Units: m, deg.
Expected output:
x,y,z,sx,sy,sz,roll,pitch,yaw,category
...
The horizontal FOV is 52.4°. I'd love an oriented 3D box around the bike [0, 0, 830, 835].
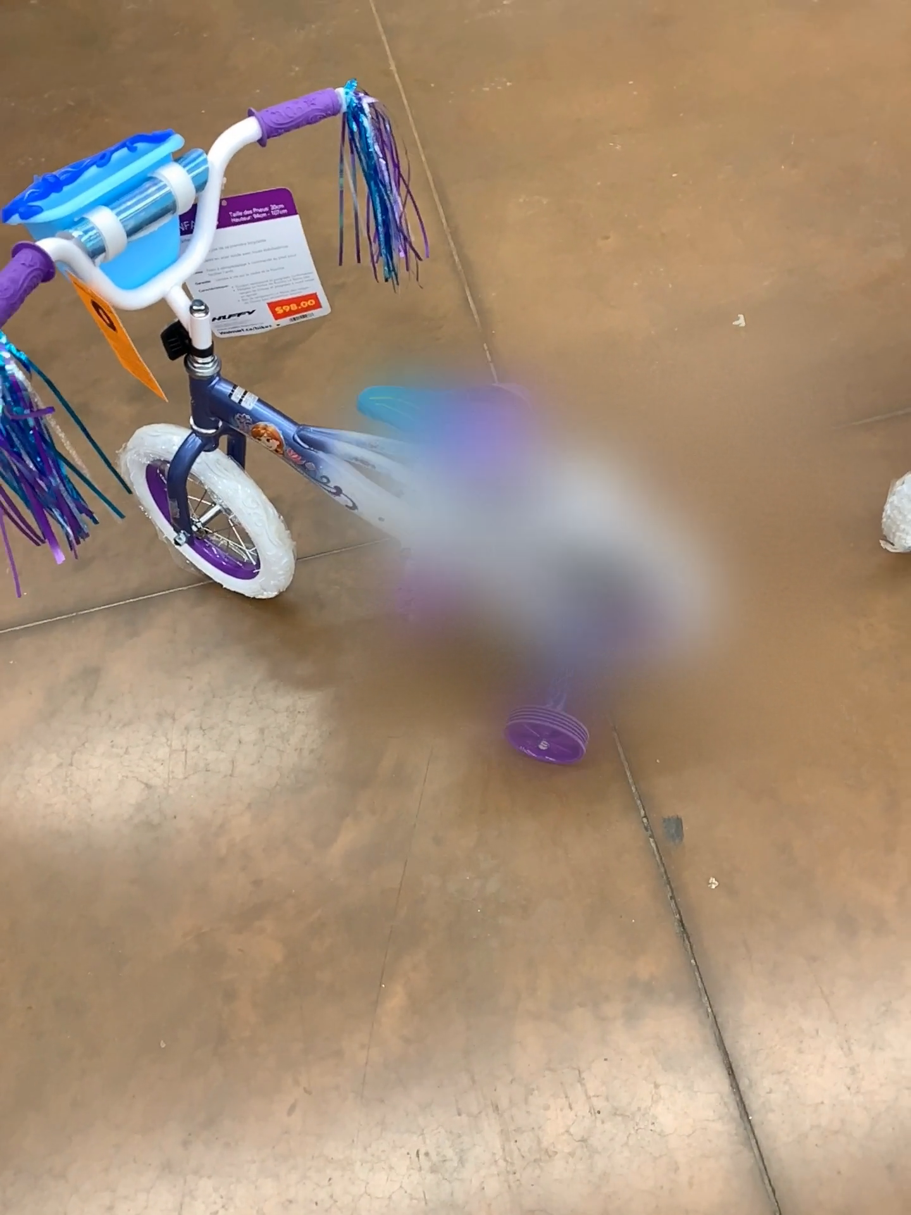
x,y,z,sx,sy,sz,roll,pitch,yaw,category
-0.114,-0.184,1.008,0.805,0.634,0.440,15,60,14,bike
